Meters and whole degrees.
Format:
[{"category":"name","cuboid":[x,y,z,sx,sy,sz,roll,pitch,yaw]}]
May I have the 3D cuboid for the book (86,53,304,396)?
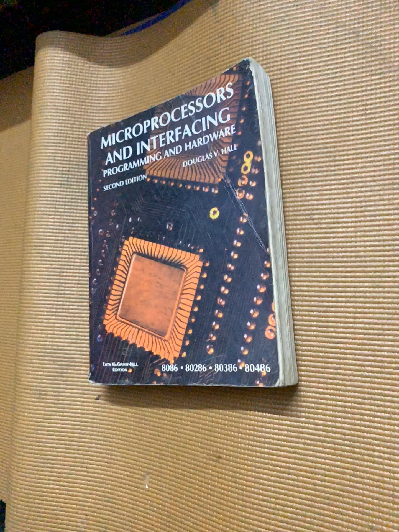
[{"category":"book","cuboid":[-0.025,-0.032,0.494,0.260,0.060,0.339,-8,80,34]}]
